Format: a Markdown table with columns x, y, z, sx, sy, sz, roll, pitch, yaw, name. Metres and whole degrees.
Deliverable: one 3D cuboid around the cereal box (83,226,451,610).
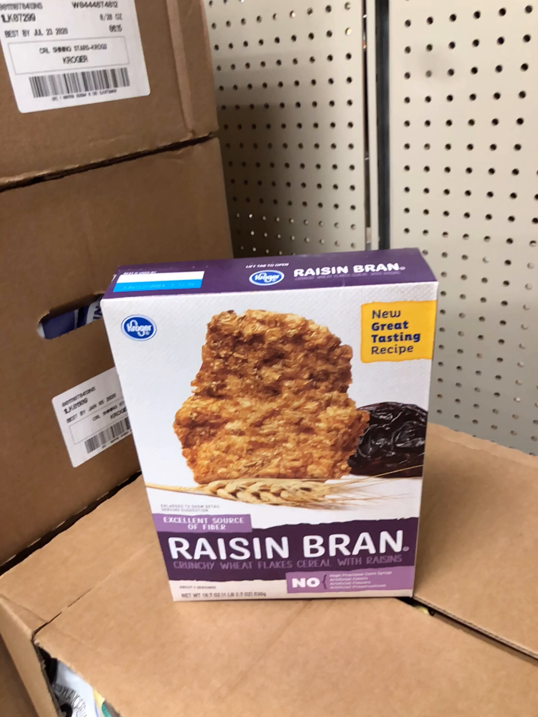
| x | y | z | sx | sy | sz | roll | pitch | yaw | name |
| --- | --- | --- | --- | --- | --- | --- | --- | --- | --- |
| 0.013 | 0.061 | 0.402 | 0.190 | 0.279 | 0.050 | -3 | 33 | 6 | cereal box |
